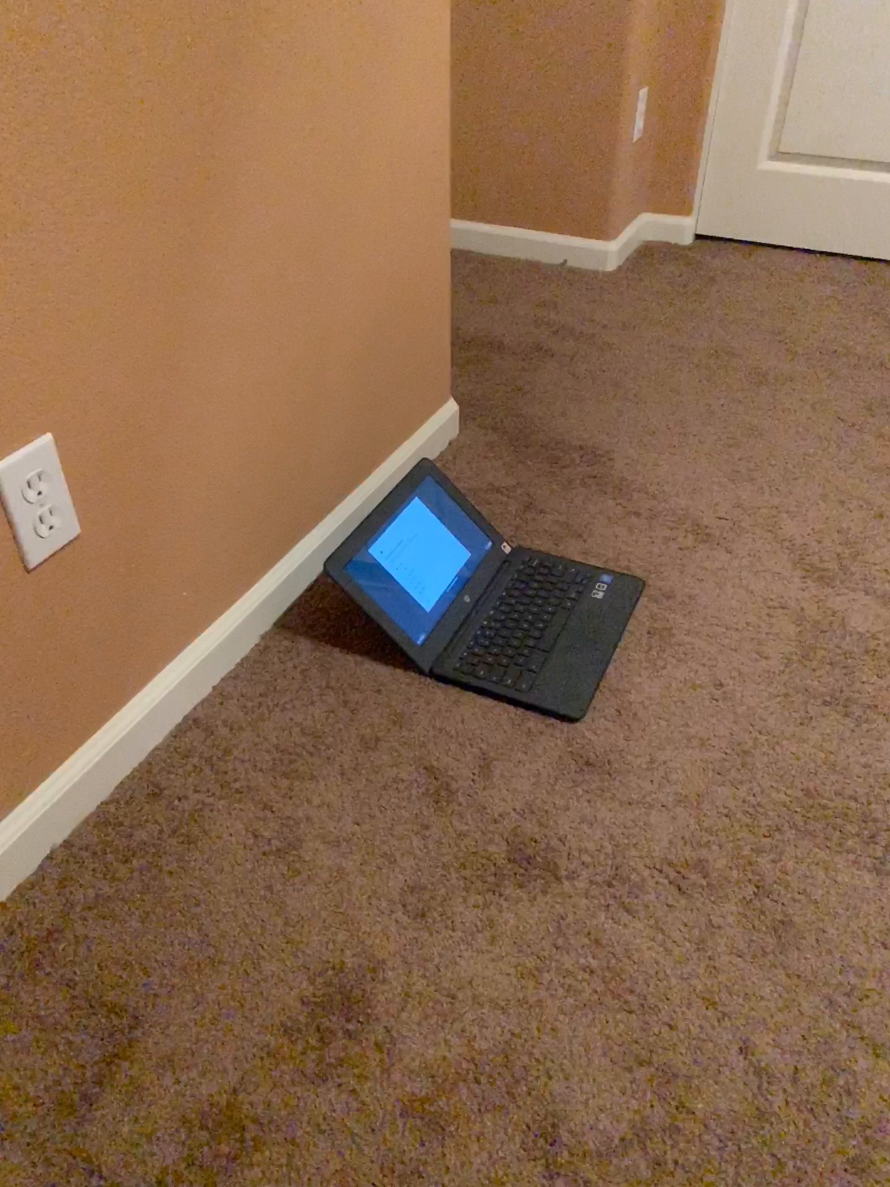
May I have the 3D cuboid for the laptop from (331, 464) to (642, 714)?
[{"bbox_3d":[0.063,-0.023,1.238,0.331,0.124,0.289,15,40,19],"label":"laptop"}]
